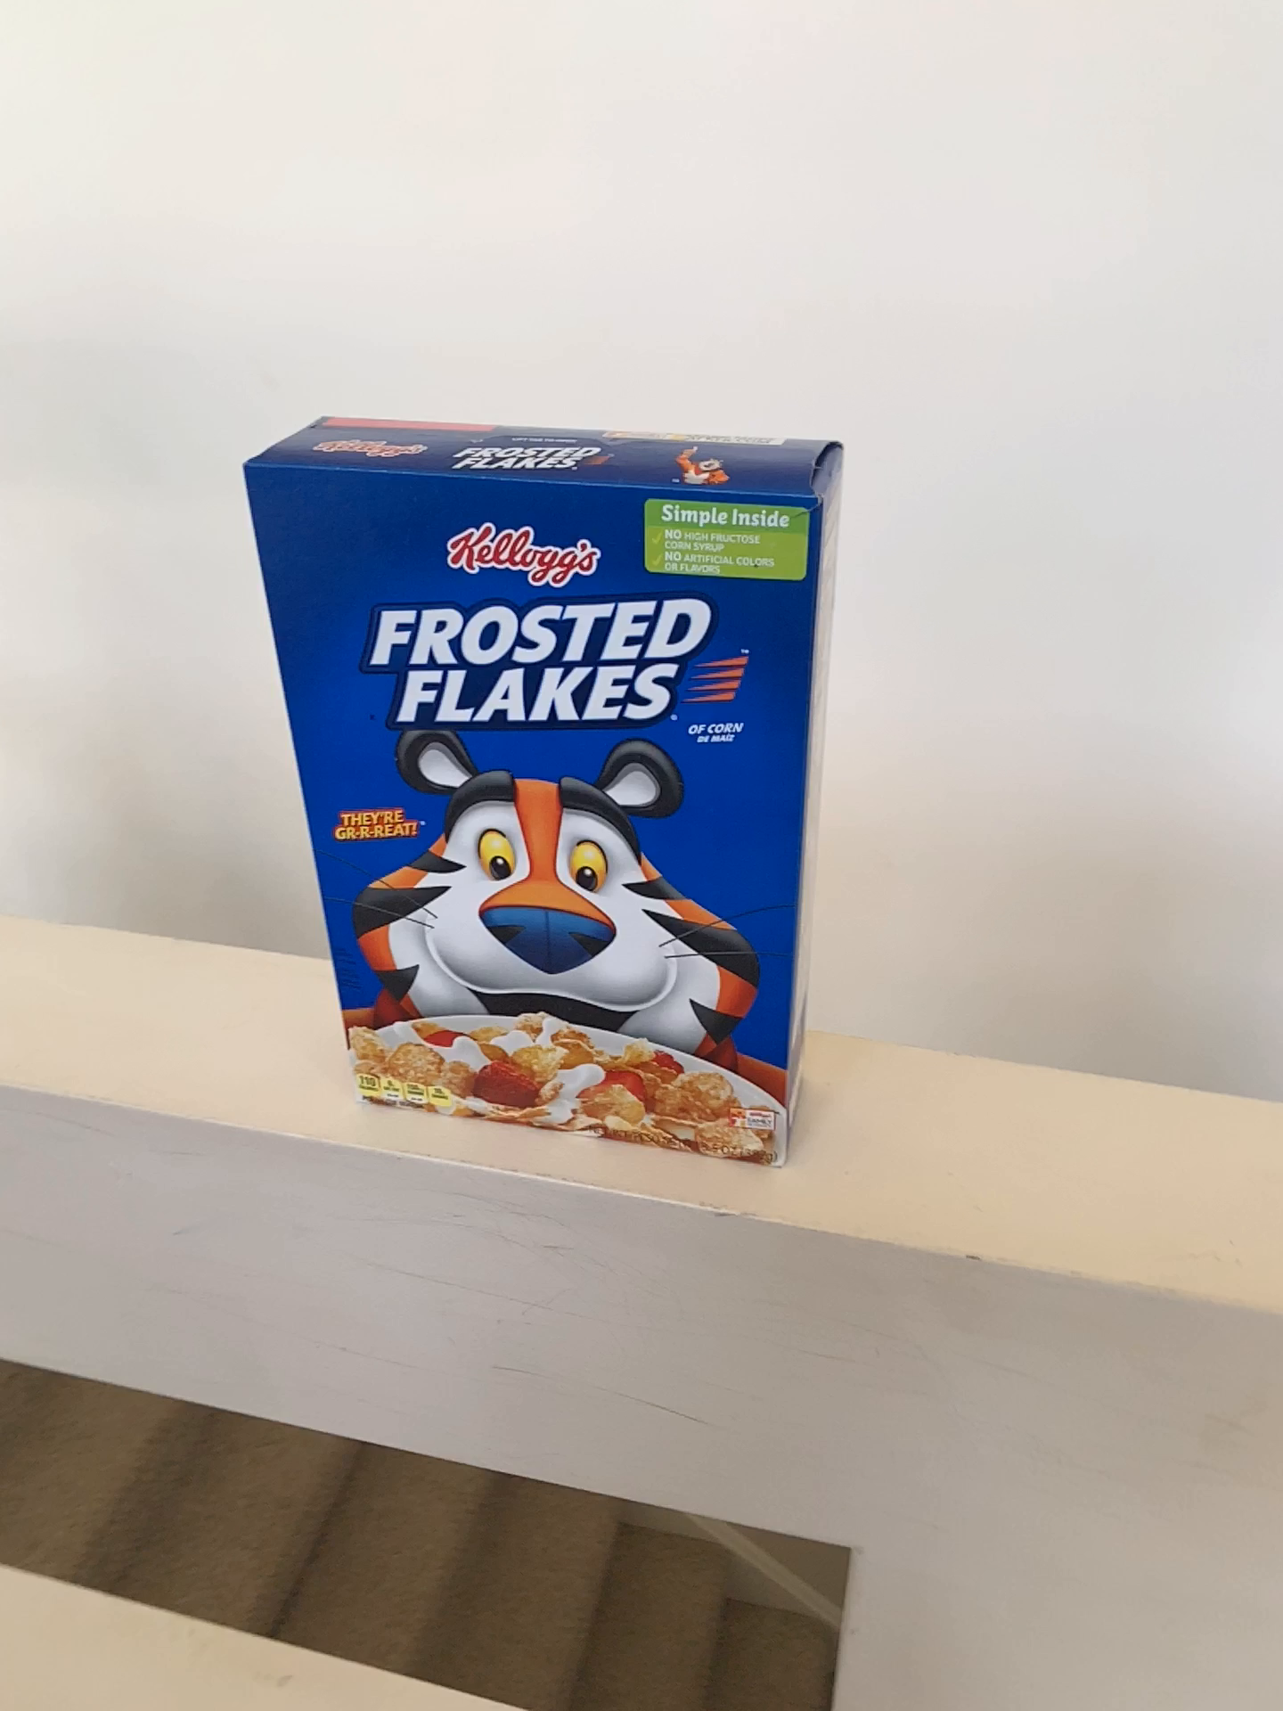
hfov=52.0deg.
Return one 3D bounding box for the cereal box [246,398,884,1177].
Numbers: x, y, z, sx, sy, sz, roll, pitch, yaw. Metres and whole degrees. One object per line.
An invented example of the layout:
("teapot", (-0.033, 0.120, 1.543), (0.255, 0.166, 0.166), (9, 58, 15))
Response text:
("cereal box", (-0.022, -0.017, 0.508), (0.200, 0.288, 0.060), (7, 34, 12))
